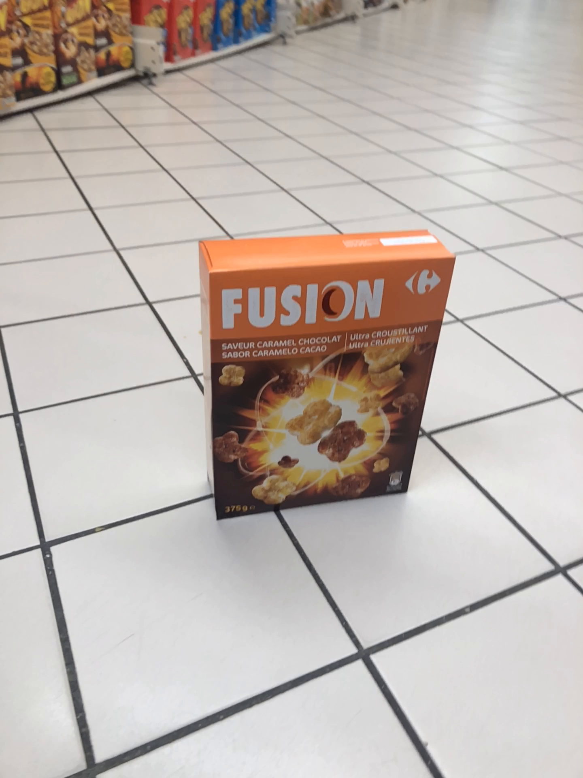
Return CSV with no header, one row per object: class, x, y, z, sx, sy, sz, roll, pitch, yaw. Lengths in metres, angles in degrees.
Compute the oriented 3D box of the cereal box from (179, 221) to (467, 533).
cereal box,0.016,-0.005,0.542,0.200,0.248,0.070,-6,36,-13
